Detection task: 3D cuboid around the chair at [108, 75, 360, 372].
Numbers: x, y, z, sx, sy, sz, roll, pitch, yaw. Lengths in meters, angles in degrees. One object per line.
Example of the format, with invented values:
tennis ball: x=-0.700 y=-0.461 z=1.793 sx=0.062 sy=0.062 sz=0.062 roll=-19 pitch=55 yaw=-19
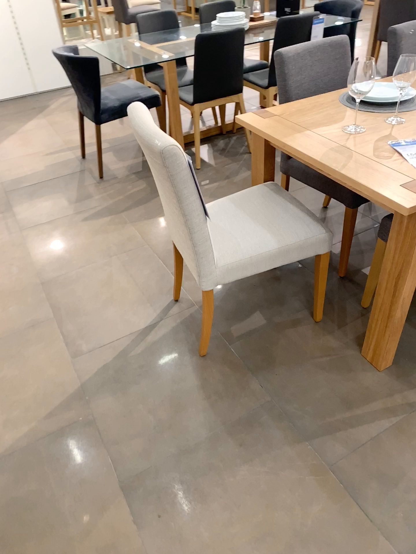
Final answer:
chair: x=0.066 y=-0.209 z=1.603 sx=0.643 sy=0.838 sz=0.541 roll=-15 pitch=40 yaw=-13
